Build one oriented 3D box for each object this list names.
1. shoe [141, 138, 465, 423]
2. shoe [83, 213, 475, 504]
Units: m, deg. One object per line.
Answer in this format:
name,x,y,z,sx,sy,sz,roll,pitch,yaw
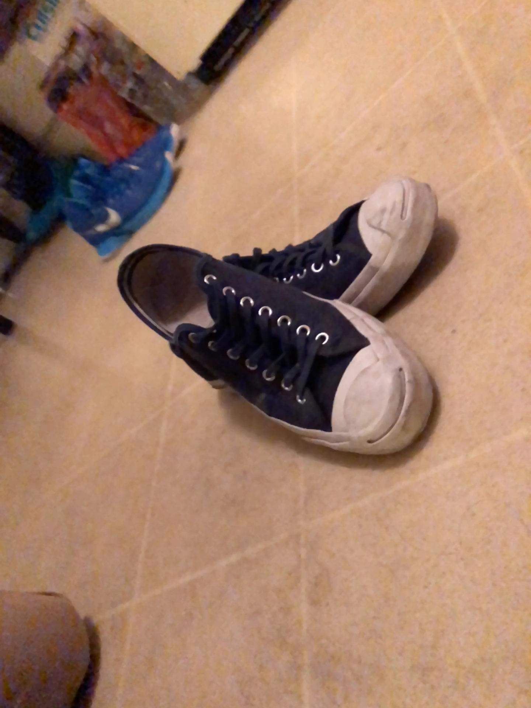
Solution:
shoe,0.017,-0.052,0.537,0.291,0.080,0.110,-29,45,30
shoe,-0.010,-0.015,0.452,0.292,0.099,0.100,29,107,37
